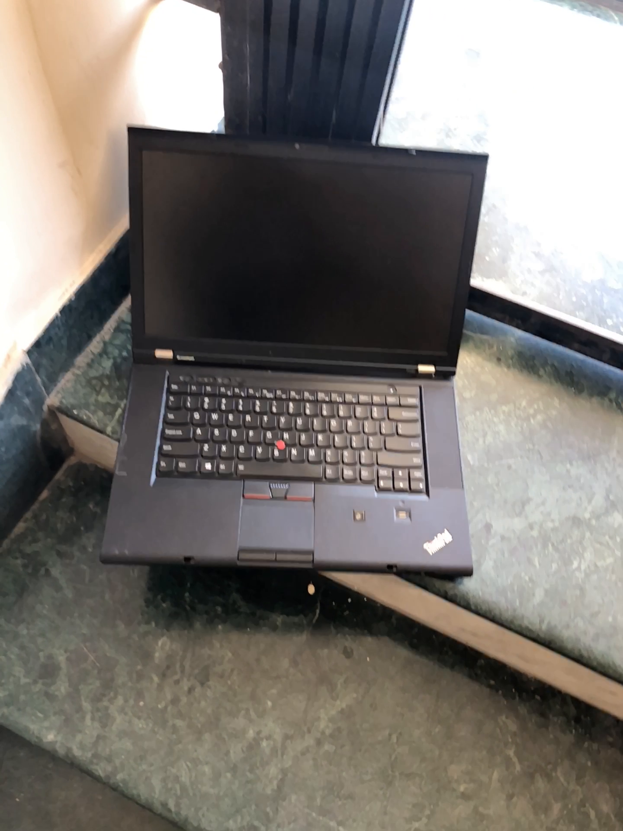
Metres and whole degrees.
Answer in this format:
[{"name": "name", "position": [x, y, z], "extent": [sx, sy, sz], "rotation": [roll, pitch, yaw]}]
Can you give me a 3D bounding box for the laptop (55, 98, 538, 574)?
[{"name": "laptop", "position": [-0.011, -0.076, 0.669], "extent": [0.359, 0.181, 0.389], "rotation": [3, 63, -4]}]
